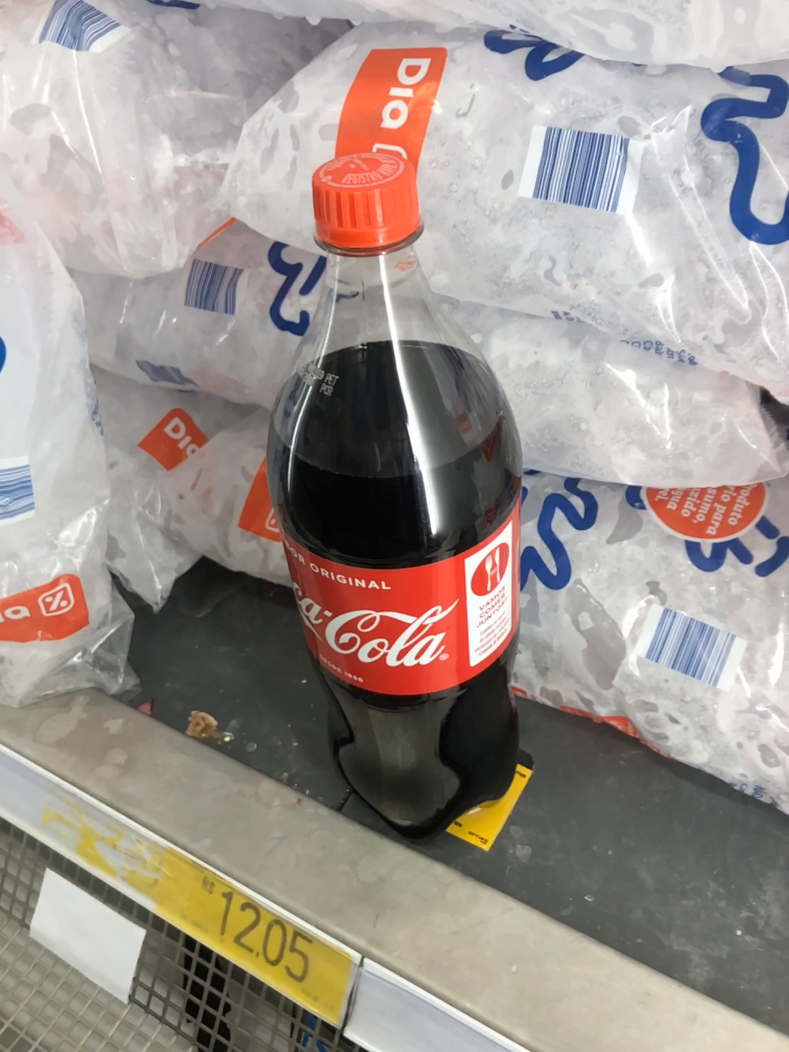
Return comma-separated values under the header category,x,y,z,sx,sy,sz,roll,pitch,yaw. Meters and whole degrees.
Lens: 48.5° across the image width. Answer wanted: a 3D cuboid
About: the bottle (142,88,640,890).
category,x,y,z,sx,sy,sz,roll,pitch,yaw
bottle,0.008,0.011,0.325,0.100,0.288,0.080,27,53,29
